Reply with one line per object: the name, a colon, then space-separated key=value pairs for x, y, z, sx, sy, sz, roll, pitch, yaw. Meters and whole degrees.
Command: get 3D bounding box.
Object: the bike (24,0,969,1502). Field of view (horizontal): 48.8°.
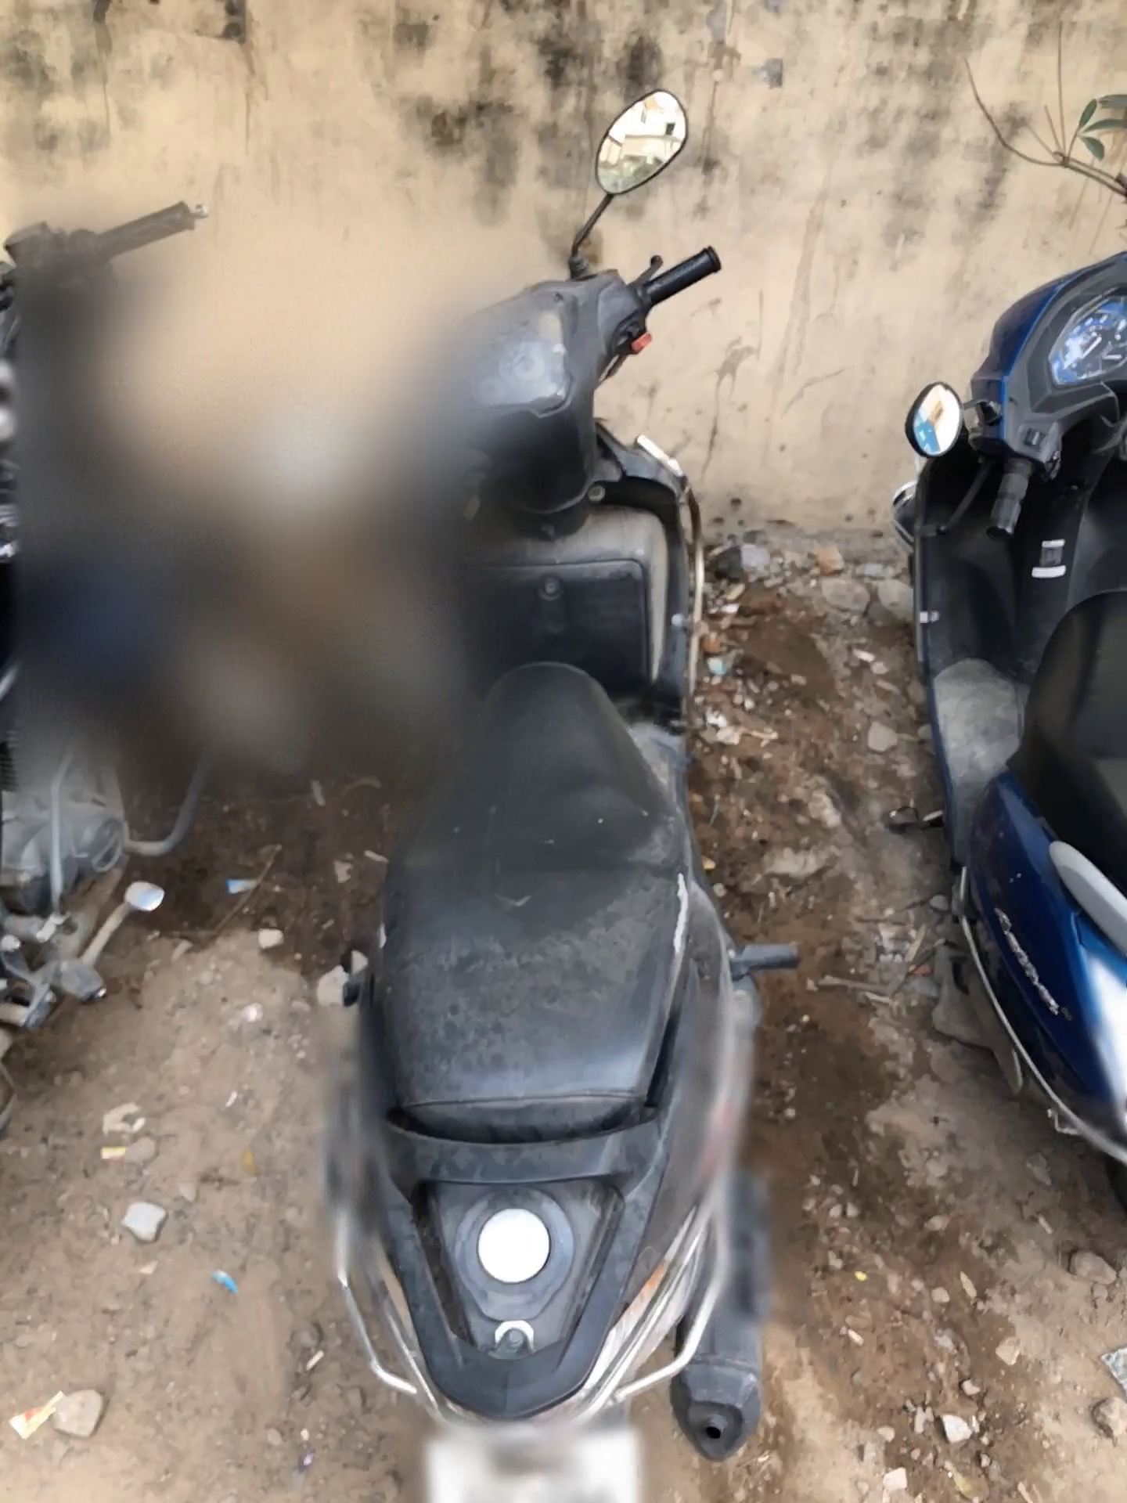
bike: x=-0.170 y=-0.072 z=1.574 sx=0.527 sy=1.114 sz=1.567 roll=0 pitch=43 yaw=-9
